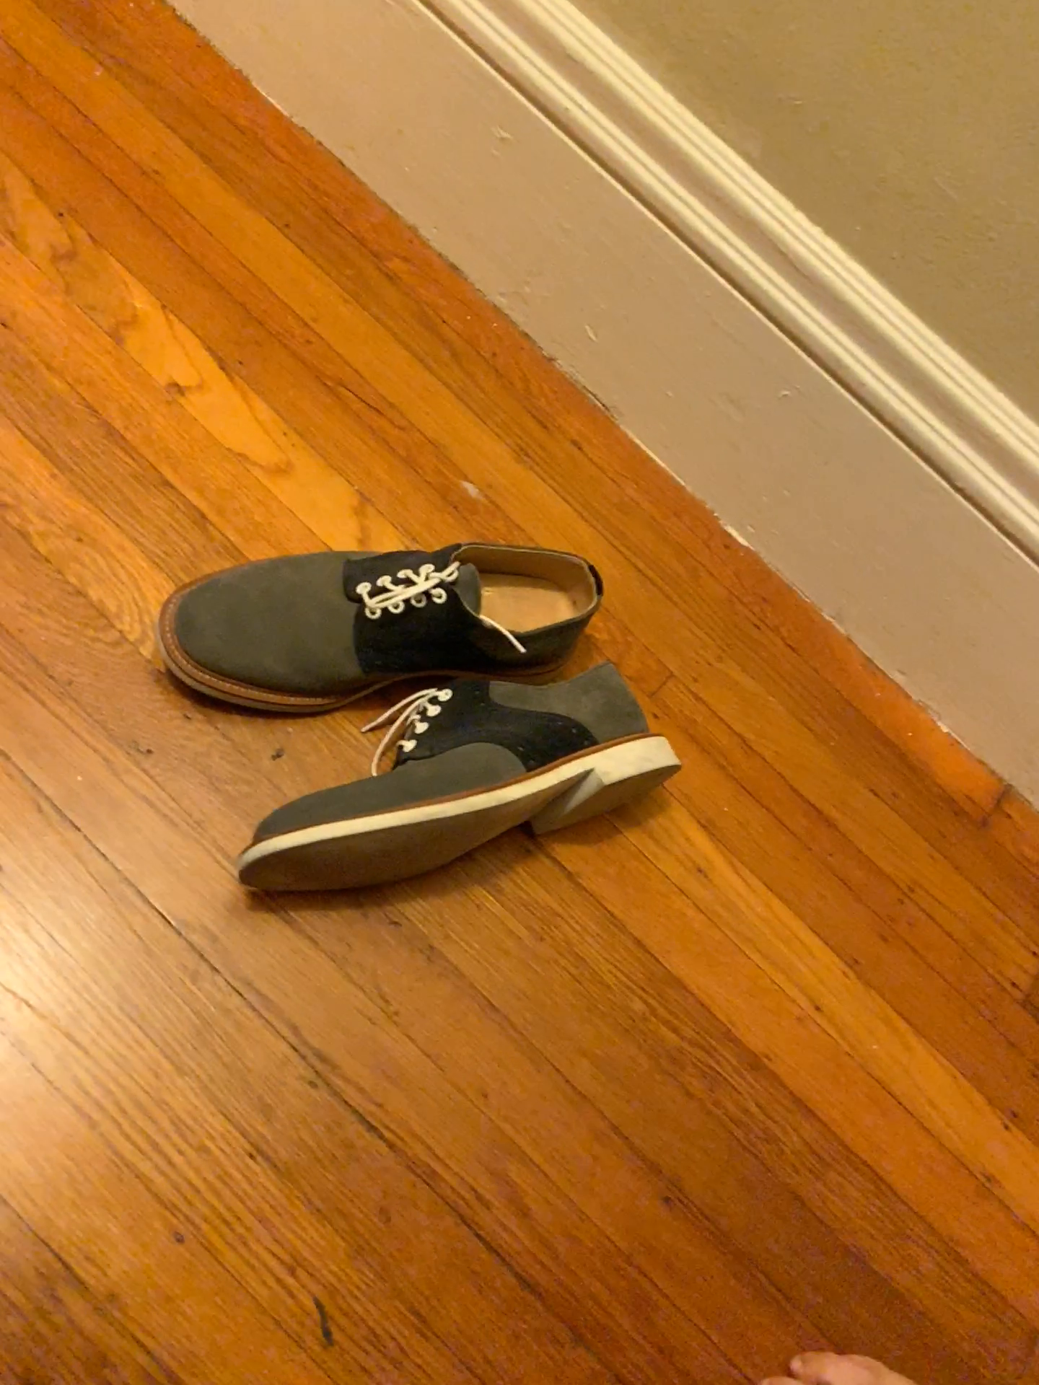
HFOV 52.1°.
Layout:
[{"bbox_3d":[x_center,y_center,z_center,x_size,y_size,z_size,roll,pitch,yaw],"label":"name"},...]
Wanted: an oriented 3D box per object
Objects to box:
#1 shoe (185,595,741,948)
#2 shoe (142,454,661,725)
[{"bbox_3d":[-0.039,0.046,0.677,0.310,0.130,0.120,-12,68,-24],"label":"shoe"},{"bbox_3d":[-0.081,-0.060,0.691,0.310,0.100,0.130,0,66,-20],"label":"shoe"}]
